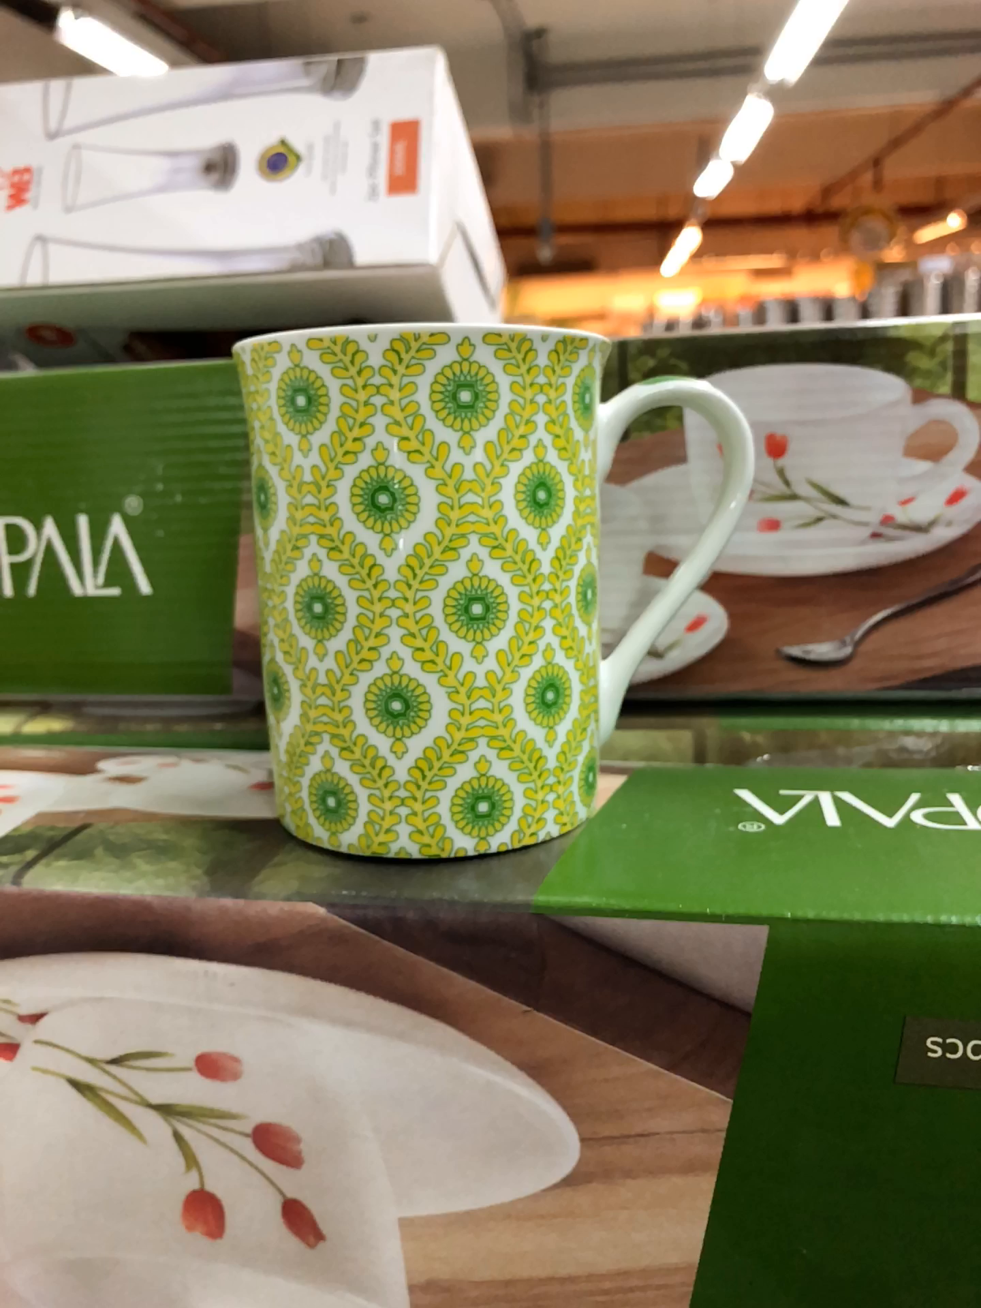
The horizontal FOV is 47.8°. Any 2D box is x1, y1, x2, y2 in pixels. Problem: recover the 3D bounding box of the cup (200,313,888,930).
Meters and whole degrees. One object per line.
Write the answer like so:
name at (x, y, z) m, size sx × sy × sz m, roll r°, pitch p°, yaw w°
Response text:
cup at (0.005, -0.010, 0.216) m, size 0.110 × 0.090 × 0.080 m, roll -3°, pitch 6°, yaw -18°
